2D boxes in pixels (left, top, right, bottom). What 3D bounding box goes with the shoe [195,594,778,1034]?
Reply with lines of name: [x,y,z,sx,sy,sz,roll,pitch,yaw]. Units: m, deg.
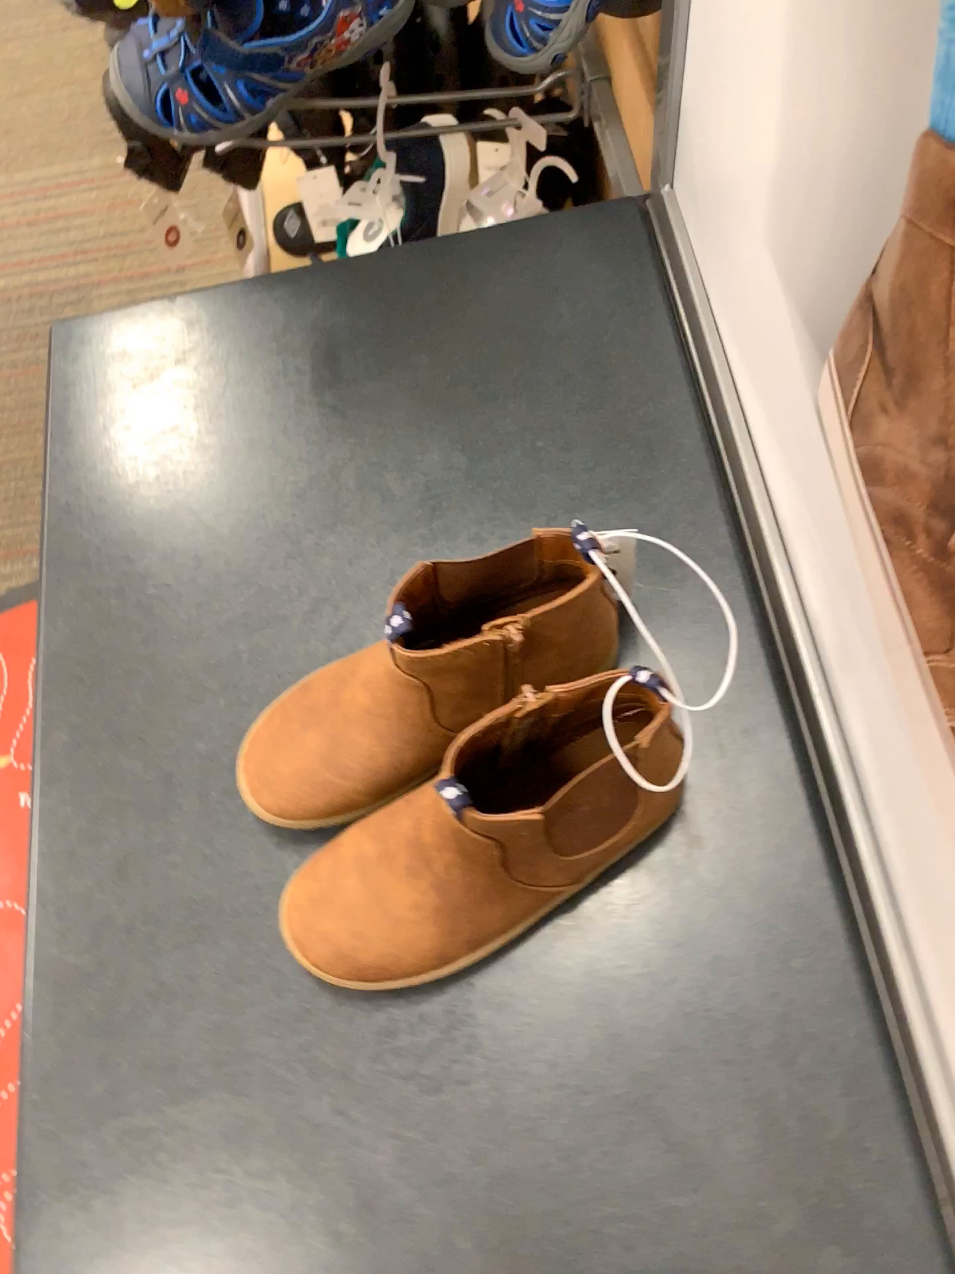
shoe: [0.005,0.076,0.395,0.190,0.100,0.086,-23,66,-4]

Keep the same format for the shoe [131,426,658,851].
shoe: [-0.030,0.005,0.428,0.190,0.100,0.086,-23,66,-4]
